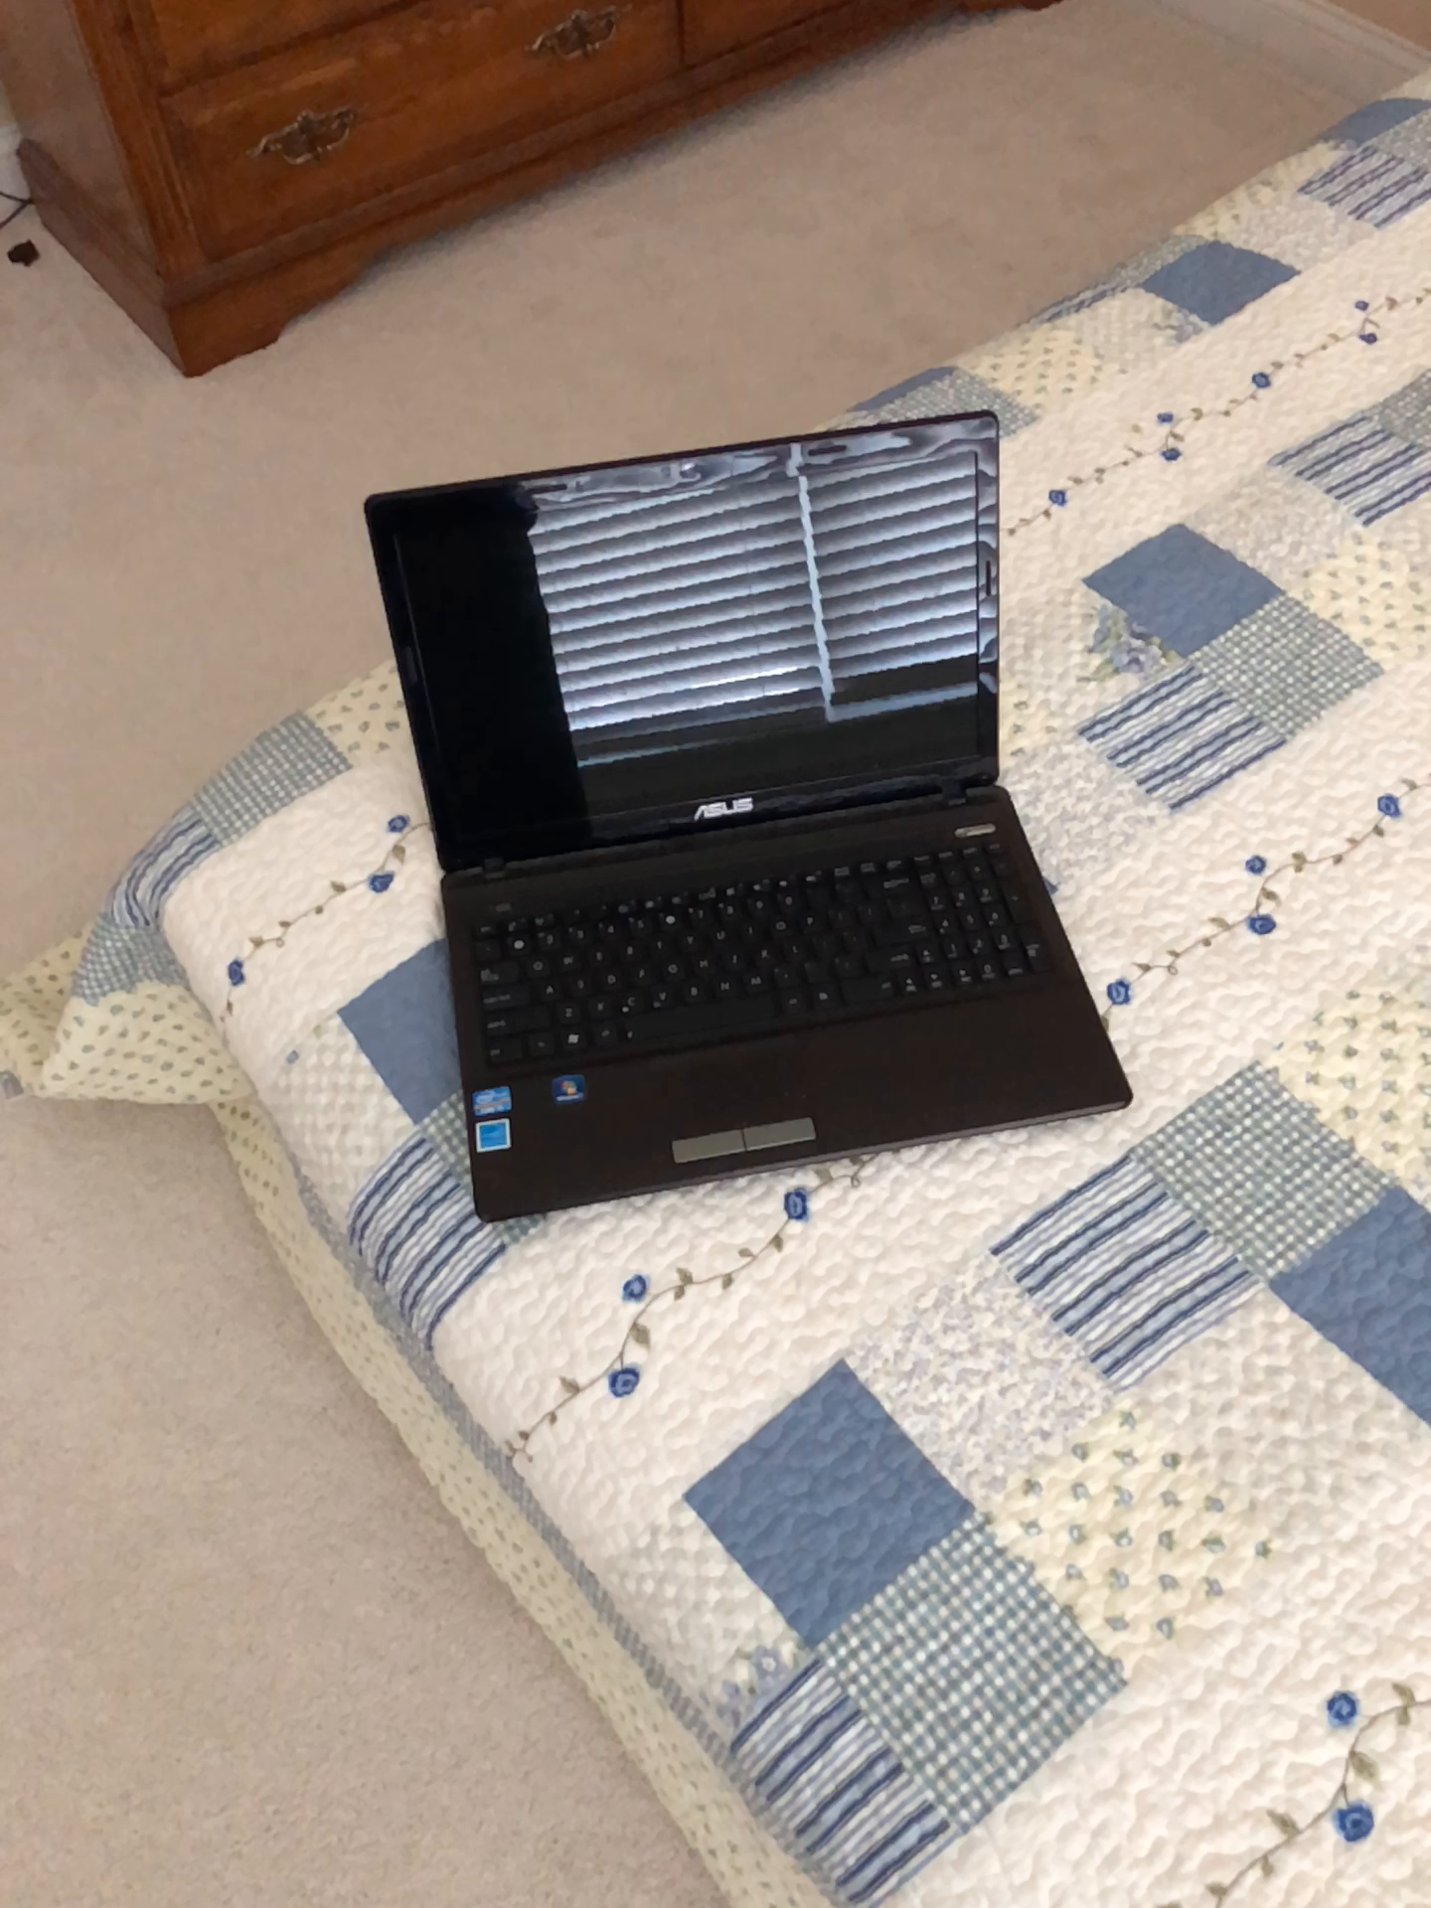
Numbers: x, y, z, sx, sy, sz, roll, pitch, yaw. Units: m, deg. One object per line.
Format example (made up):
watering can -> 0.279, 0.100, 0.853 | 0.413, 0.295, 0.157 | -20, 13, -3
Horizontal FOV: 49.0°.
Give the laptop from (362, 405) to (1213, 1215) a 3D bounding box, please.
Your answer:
laptop -> 0.015, -0.088, 0.864 | 0.358, 0.193, 0.351 | -9, 56, -5
